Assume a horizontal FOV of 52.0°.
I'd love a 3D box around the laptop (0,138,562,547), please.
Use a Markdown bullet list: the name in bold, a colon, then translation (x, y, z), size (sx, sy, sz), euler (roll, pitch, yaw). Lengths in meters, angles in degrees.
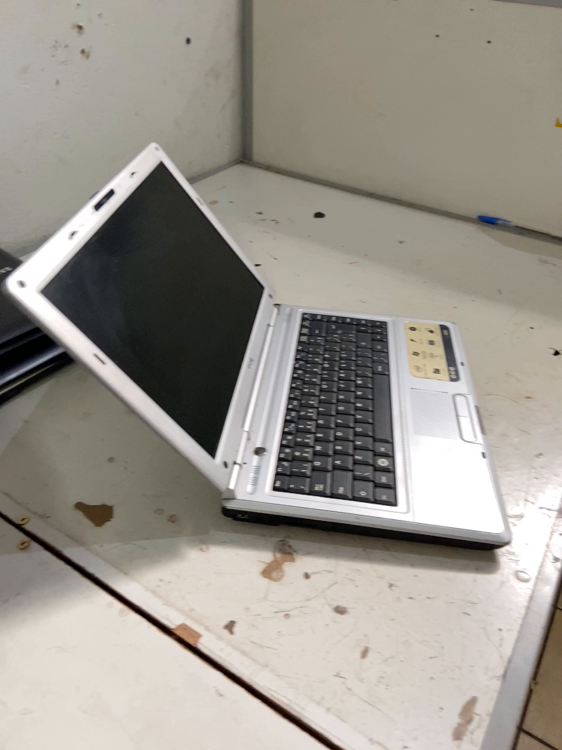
- **laptop**: translation (0.022, -0.062, 0.557), size (0.387, 0.190, 0.340), euler (7, 37, 3)
